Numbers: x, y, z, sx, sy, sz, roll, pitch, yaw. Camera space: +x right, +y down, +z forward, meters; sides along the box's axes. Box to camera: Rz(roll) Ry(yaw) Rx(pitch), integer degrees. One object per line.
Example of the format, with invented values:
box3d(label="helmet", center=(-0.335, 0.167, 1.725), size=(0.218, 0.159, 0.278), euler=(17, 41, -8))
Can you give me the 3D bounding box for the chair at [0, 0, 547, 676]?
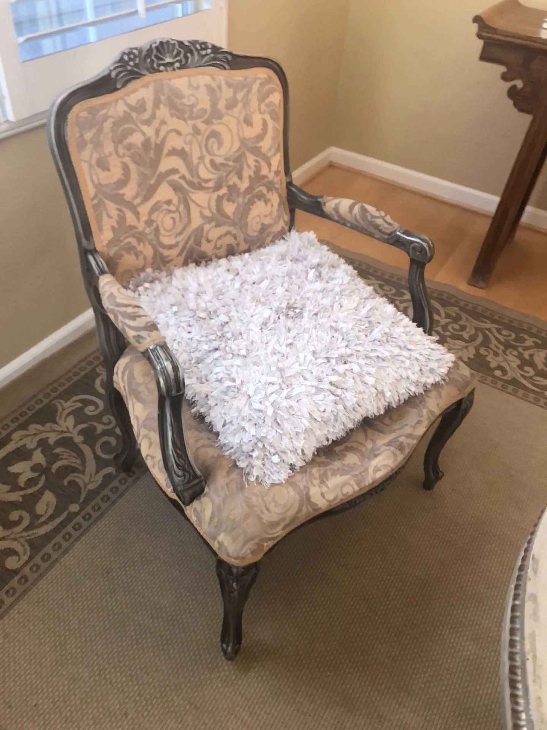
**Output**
box3d(label="chair", center=(0.005, -0.092, 1.223), size=(0.765, 0.971, 0.652), euler=(-29, 52, -33))
